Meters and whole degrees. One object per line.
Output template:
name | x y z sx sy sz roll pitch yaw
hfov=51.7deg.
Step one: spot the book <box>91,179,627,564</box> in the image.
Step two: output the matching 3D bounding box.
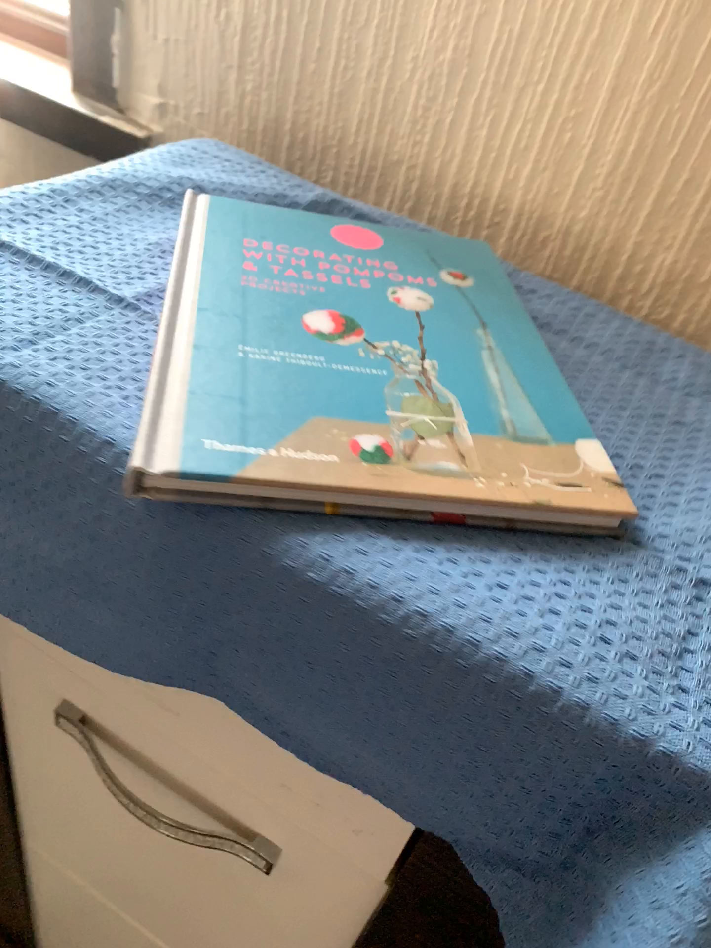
book | -0.007 -0.066 0.350 0.190 0.020 0.252 7 40 -14
